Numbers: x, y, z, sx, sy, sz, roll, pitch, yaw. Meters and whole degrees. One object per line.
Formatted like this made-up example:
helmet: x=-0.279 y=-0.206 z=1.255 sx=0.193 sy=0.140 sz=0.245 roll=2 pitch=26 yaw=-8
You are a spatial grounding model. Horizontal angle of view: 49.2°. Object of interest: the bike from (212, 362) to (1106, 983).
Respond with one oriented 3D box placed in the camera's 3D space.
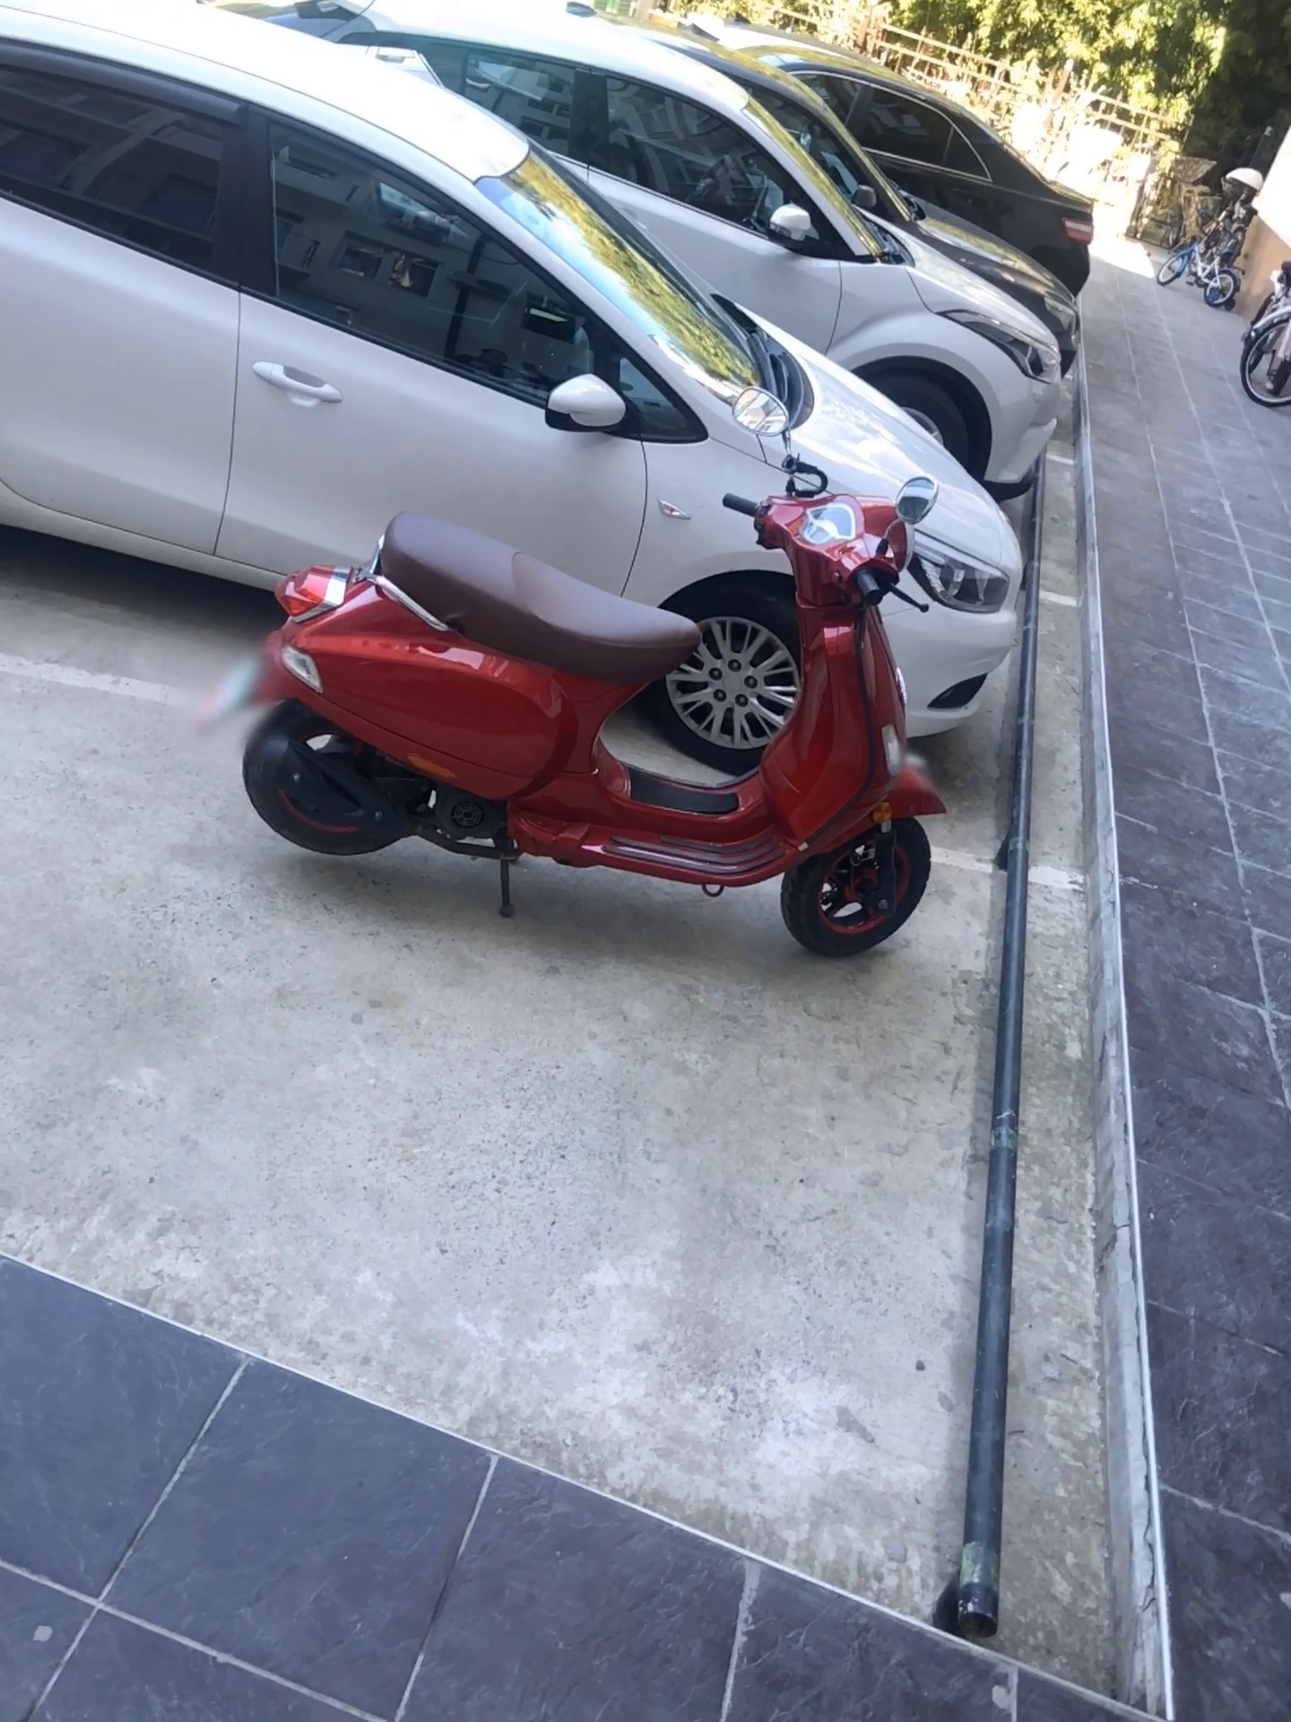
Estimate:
bike: x=-0.011 y=-0.363 z=3.051 sx=1.593 sy=0.950 sz=0.537 roll=9 pitch=33 yaw=-12
